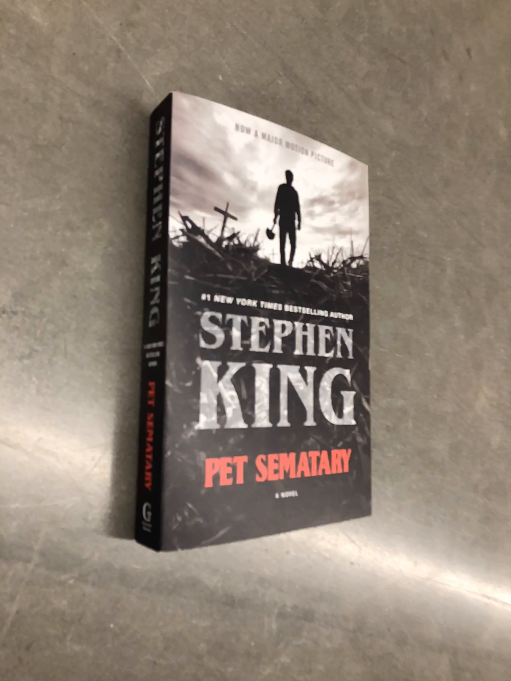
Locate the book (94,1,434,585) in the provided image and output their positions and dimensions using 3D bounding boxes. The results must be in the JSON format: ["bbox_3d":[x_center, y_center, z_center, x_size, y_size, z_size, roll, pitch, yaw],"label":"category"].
[{"bbox_3d":[0.016,-0.014,0.280,0.161,0.050,0.220,6,87,-40],"label":"book"}]
